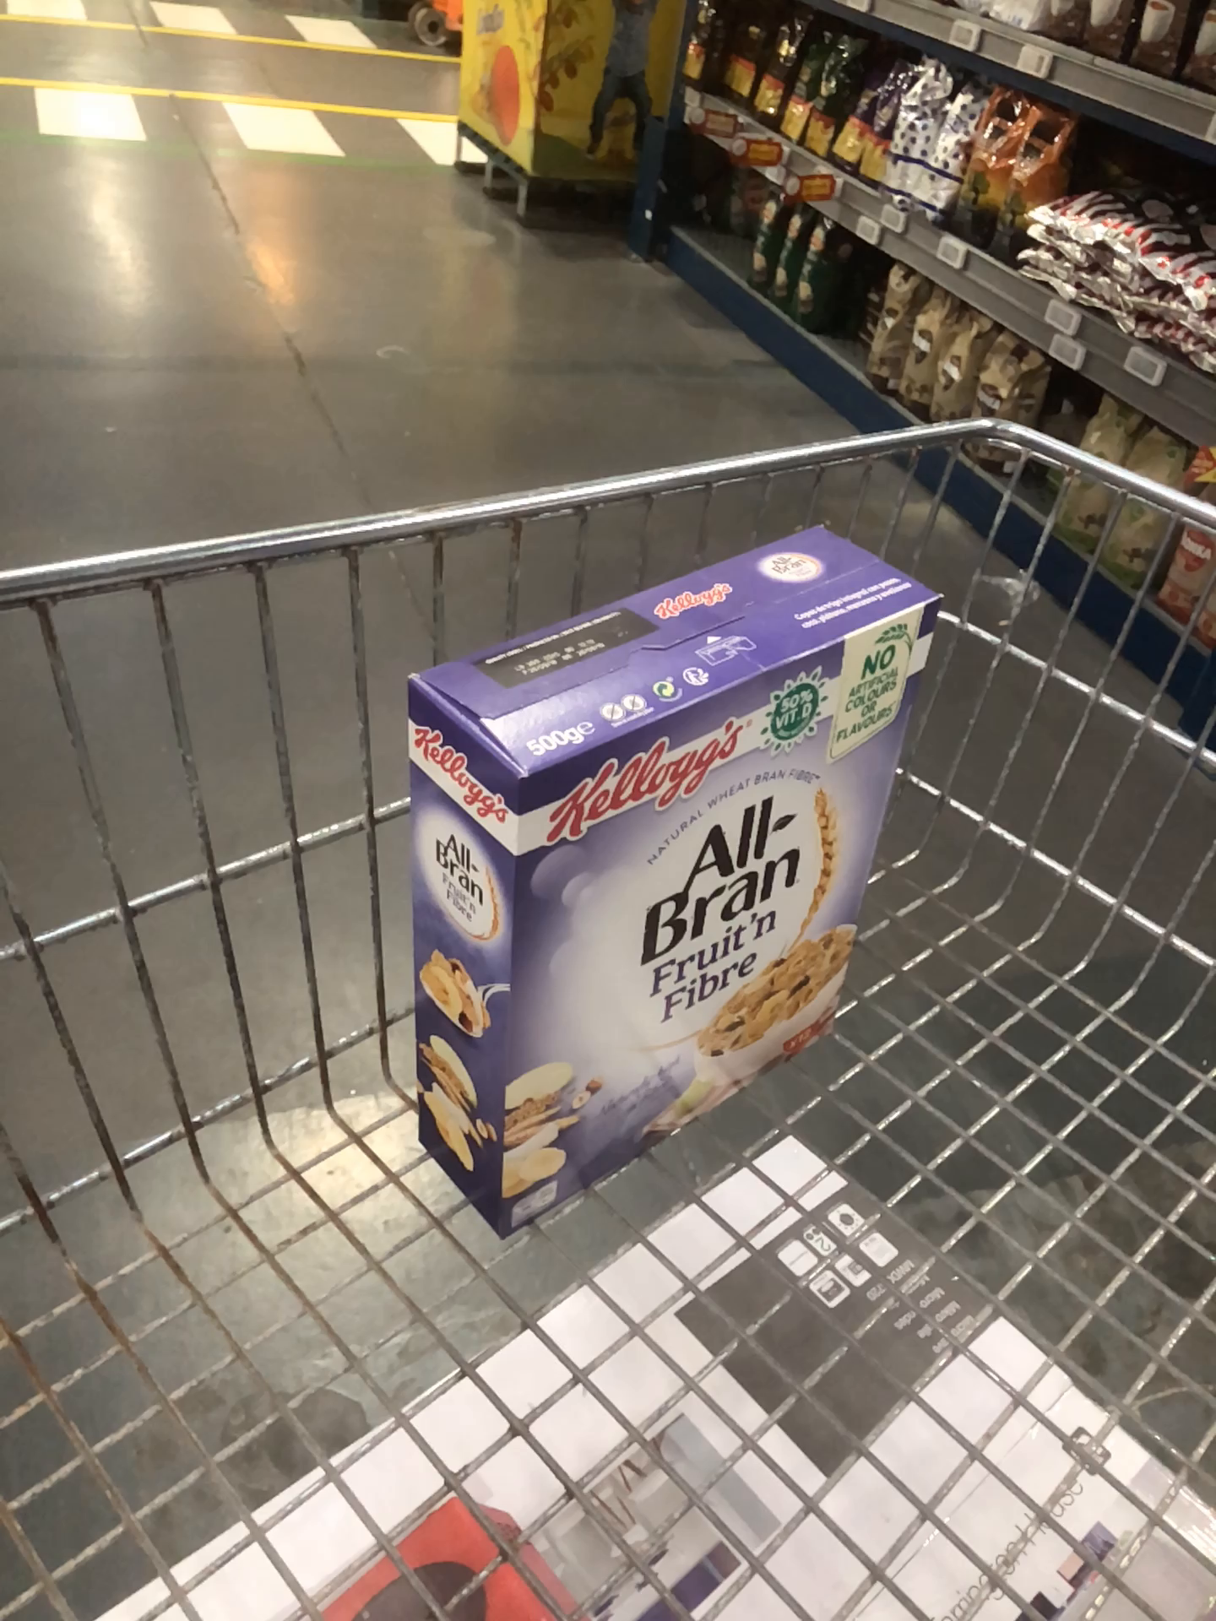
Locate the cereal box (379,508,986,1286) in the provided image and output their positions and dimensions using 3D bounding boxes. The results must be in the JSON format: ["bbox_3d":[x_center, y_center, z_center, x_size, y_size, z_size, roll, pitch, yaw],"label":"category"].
[{"bbox_3d":[0.020,0.032,0.486,0.191,0.229,0.070,-26,50,-32],"label":"cereal box"}]
